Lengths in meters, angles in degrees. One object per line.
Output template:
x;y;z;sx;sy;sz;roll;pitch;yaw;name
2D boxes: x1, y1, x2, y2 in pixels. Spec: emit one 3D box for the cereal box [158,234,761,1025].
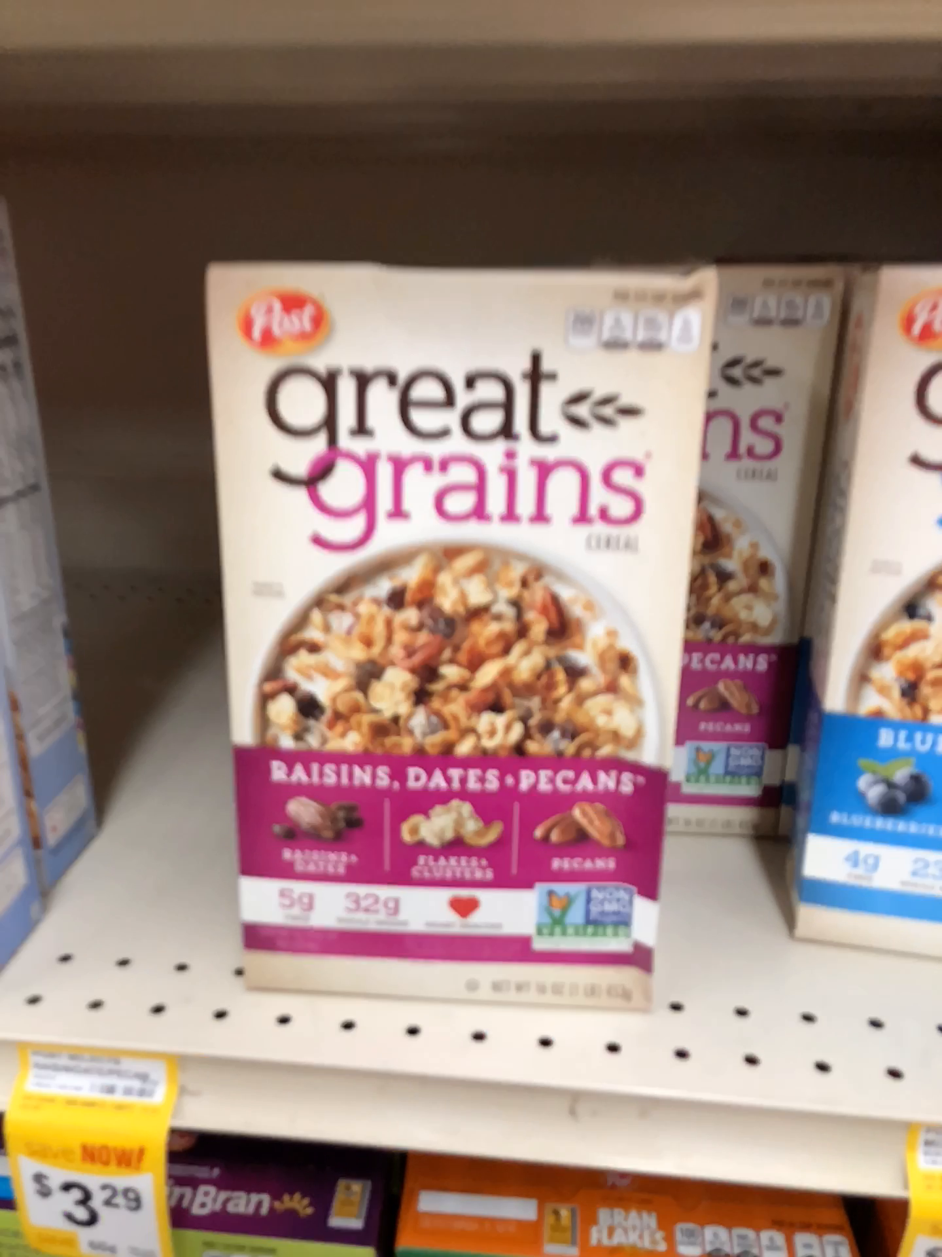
-0.005;0.008;0.362;0.170;0.269;0.050;2;21;3;cereal box
